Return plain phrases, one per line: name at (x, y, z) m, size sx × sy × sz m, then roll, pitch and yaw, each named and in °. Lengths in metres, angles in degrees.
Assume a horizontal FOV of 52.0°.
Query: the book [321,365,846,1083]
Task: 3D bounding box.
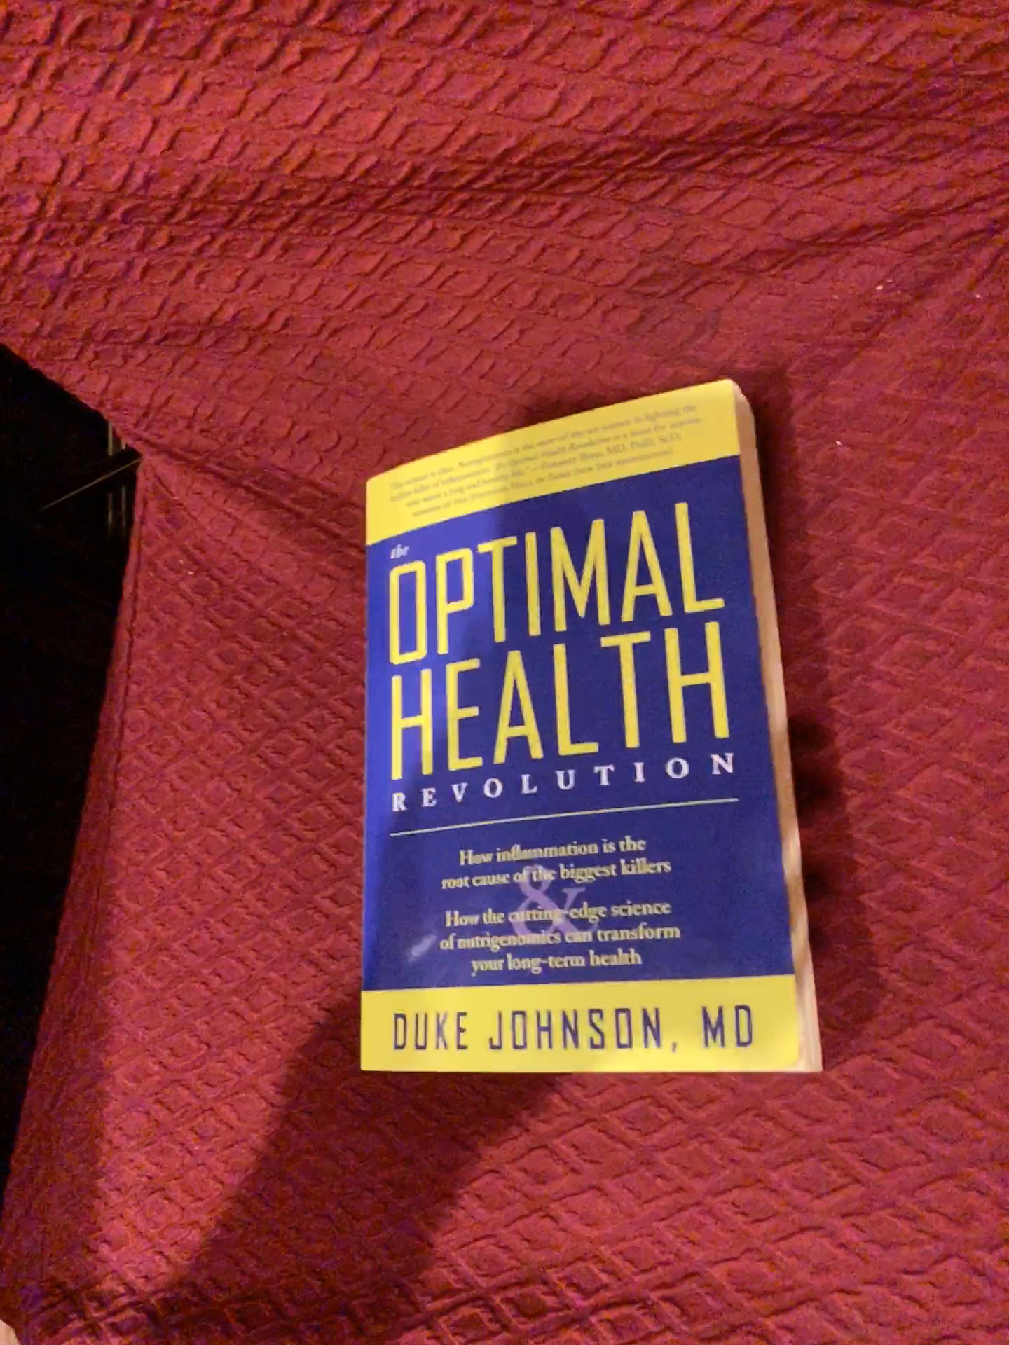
book at (0.021, 0.023, 0.370) m, size 0.161 × 0.060 × 0.222 m, roll -9°, pitch 72°, yaw 24°
